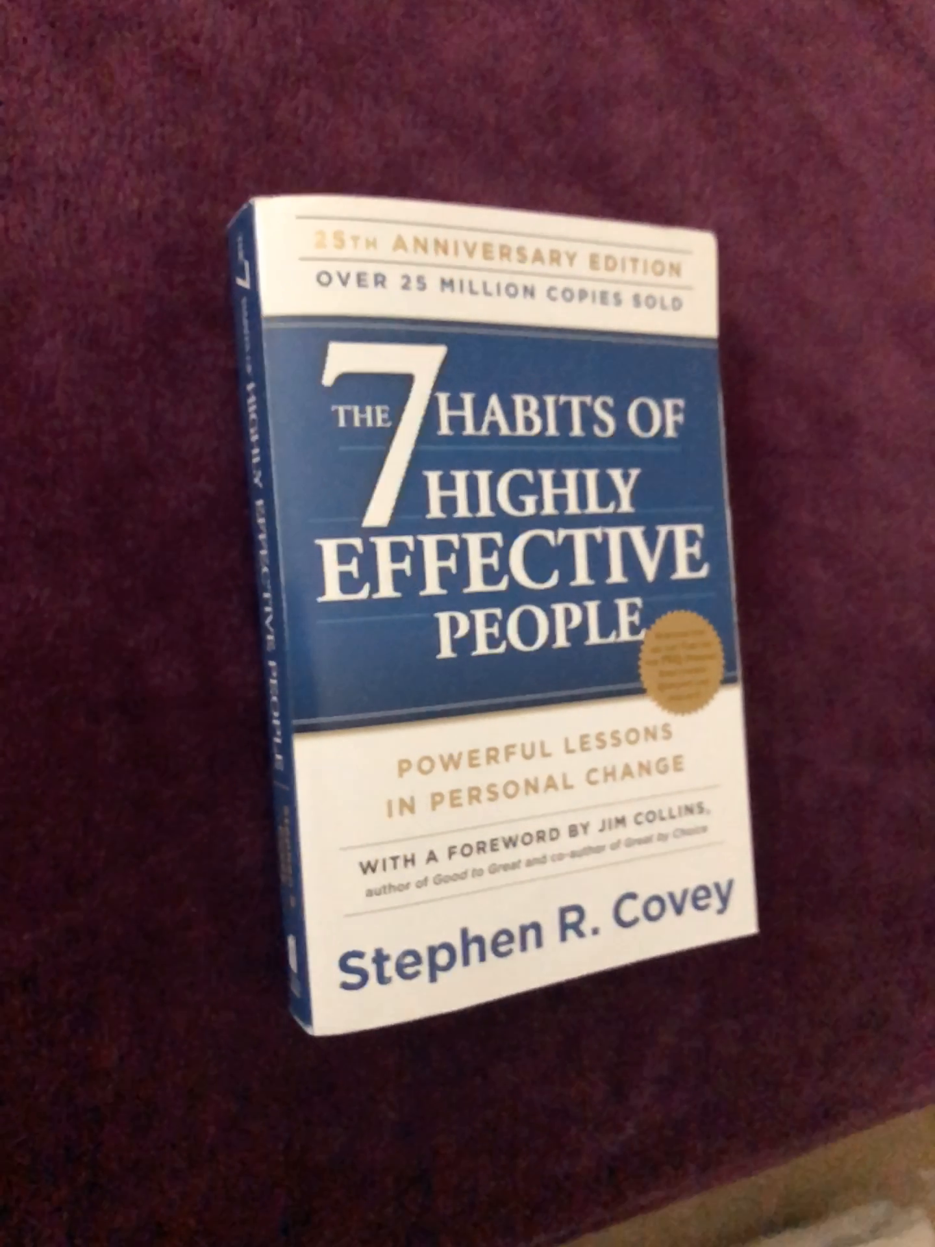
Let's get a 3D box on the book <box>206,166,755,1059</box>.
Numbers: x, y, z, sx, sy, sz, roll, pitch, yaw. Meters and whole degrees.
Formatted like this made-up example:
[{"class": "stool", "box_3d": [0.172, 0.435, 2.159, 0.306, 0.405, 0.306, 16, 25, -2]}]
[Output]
[{"class": "book", "box_3d": [0.009, -0.006, 0.299, 0.147, 0.028, 0.217, -4, 92, -25]}]
